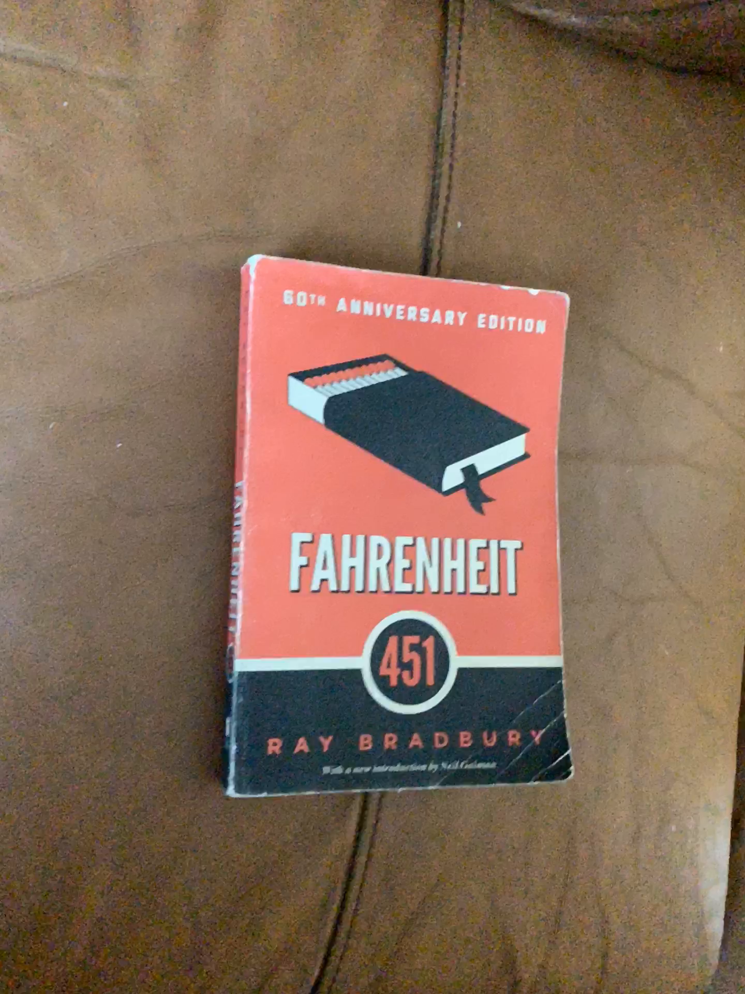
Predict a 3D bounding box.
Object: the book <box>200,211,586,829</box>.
[{"bbox_3d":[0.010,0.008,0.319,0.150,0.040,0.220,2,83,-21],"label":"book"}]
